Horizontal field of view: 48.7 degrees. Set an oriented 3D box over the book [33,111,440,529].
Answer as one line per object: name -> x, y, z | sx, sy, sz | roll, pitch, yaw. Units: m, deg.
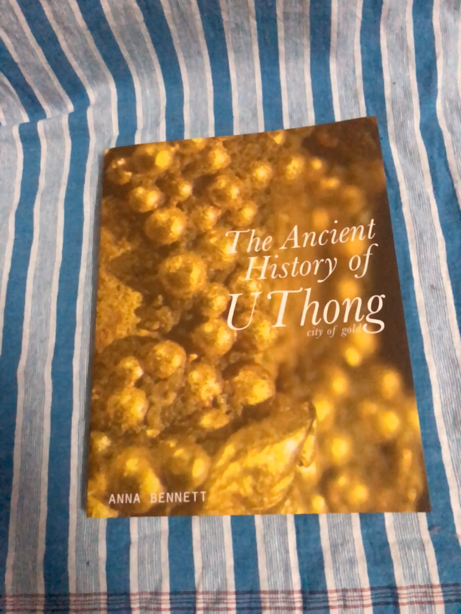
book -> -0.003, 0.001, 0.324 | 0.220, 0.030, 0.250 | -3, 73, 5
